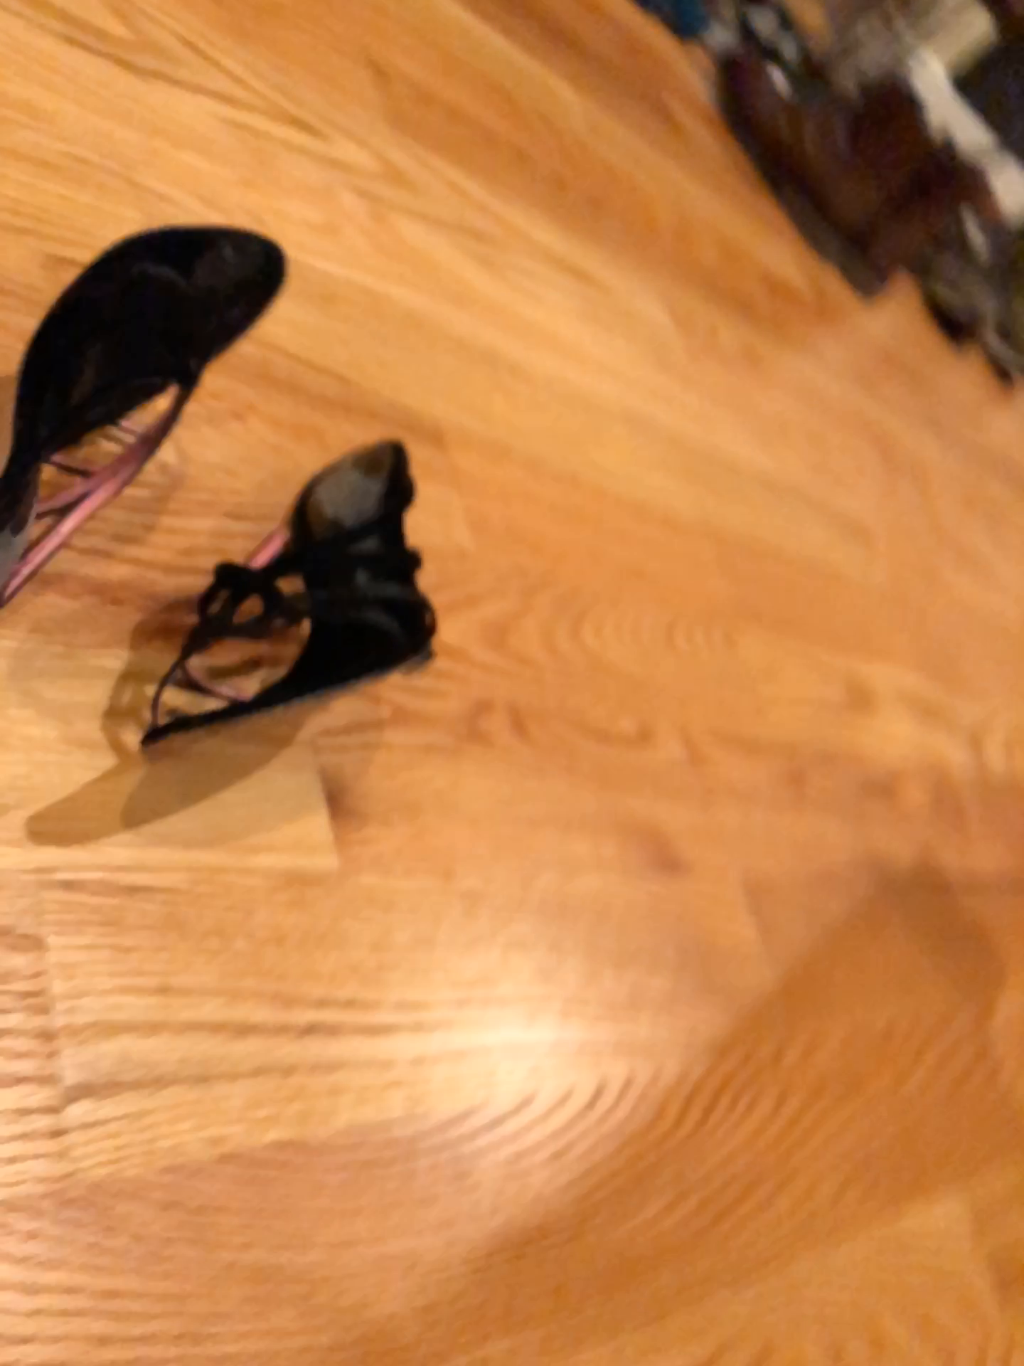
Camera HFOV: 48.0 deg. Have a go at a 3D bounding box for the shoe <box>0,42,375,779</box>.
[{"bbox_3d":[-0.140,-0.097,0.346,0.082,0.104,0.236,43,36,-18],"label":"shoe"}]

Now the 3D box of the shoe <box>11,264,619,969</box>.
[{"bbox_3d":[-0.050,-0.034,0.396,0.102,0.104,0.216,40,37,-18],"label":"shoe"}]
